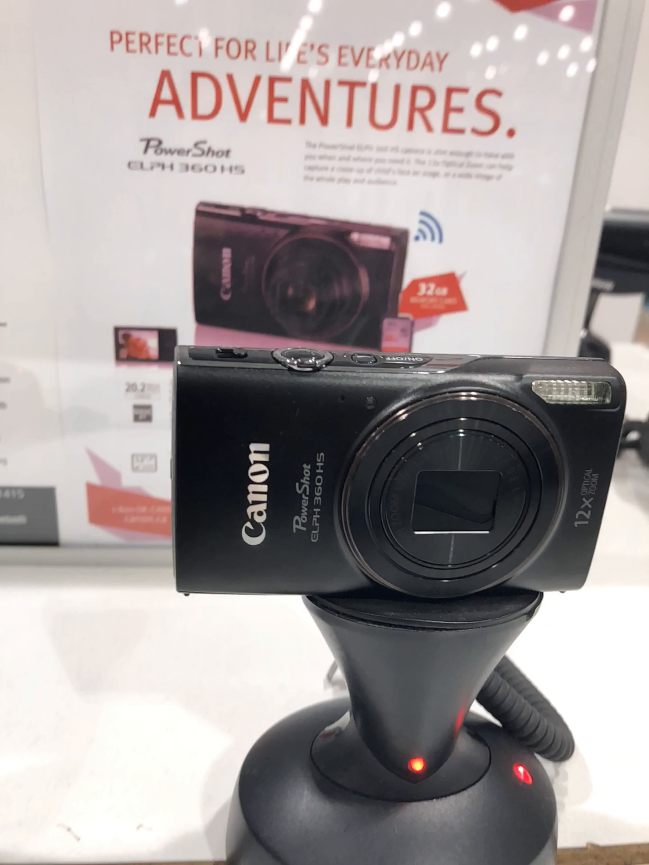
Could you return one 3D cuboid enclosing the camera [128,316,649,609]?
[{"bbox_3d":[0.013,0.008,0.175,0.110,0.060,0.030,2,21,-6],"label":"camera"}]
